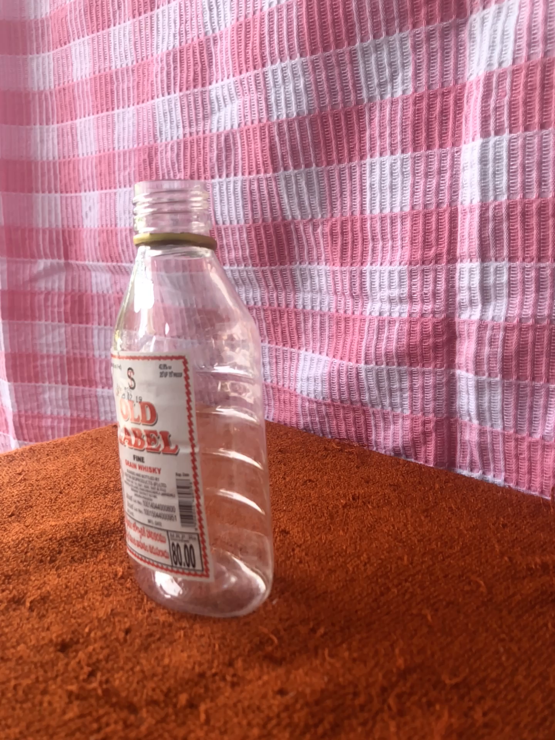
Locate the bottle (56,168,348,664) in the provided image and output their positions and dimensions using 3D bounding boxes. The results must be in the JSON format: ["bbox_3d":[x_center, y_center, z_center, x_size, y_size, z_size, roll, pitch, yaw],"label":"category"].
[{"bbox_3d":[-0.024,0.008,0.197,0.050,0.130,0.070,-14,15,-39],"label":"bottle"}]
